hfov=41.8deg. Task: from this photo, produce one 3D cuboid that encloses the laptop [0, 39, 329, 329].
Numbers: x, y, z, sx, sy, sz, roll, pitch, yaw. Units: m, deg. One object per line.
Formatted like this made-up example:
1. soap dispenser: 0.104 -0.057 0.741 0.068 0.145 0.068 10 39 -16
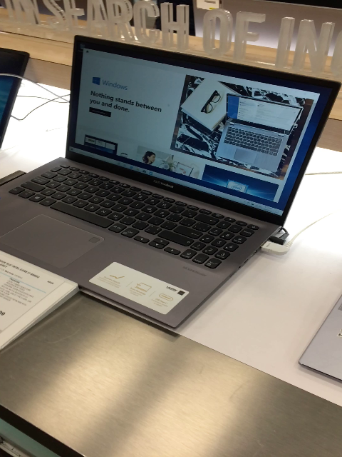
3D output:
1. laptop: -0.055 -0.068 0.464 0.302 0.154 0.229 23 47 24
